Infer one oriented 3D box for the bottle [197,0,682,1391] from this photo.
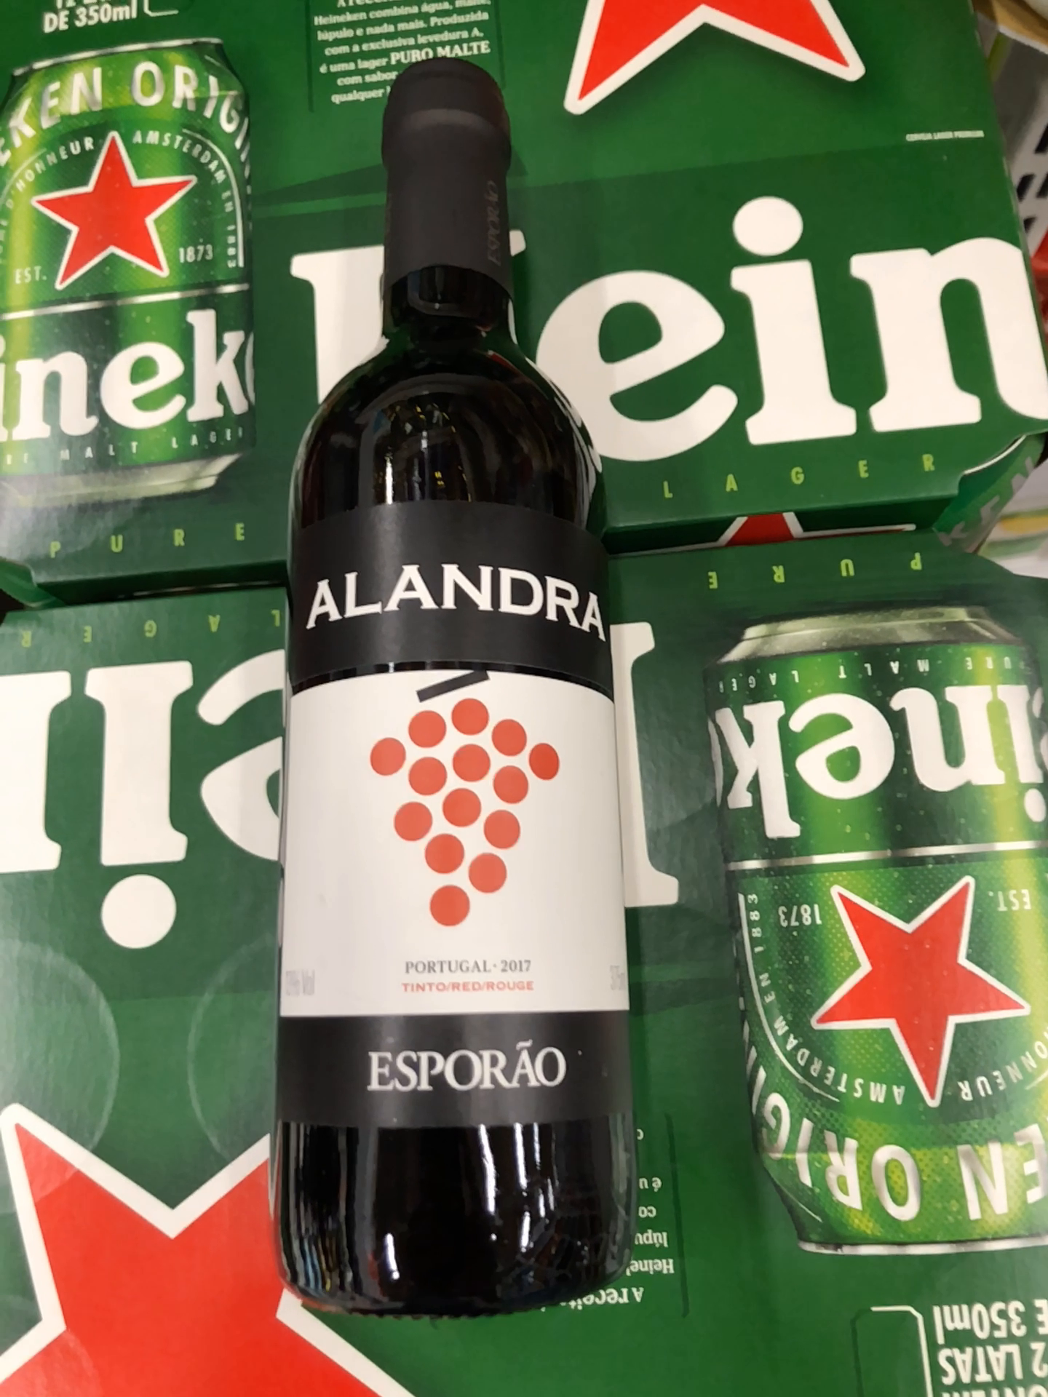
[{"bbox_3d":[-0.018,-0.025,0.205,0.060,0.060,0.240,0,75,-8],"label":"bottle"}]
